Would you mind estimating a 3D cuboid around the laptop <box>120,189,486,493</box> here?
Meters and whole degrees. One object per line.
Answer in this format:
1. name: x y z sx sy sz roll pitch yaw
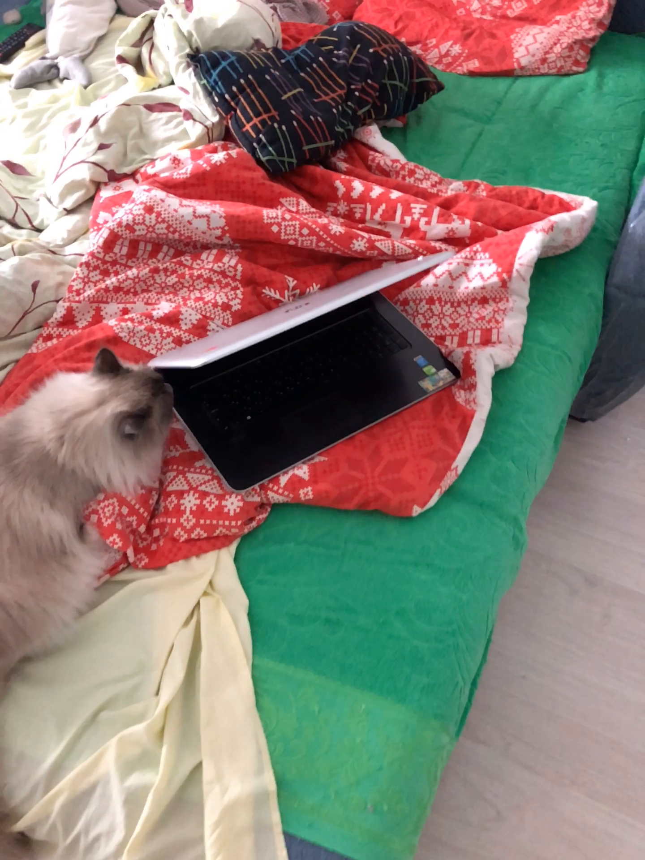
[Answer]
1. laptop: -0.023 -0.145 1.031 0.414 0.176 0.277 -27 58 -21
